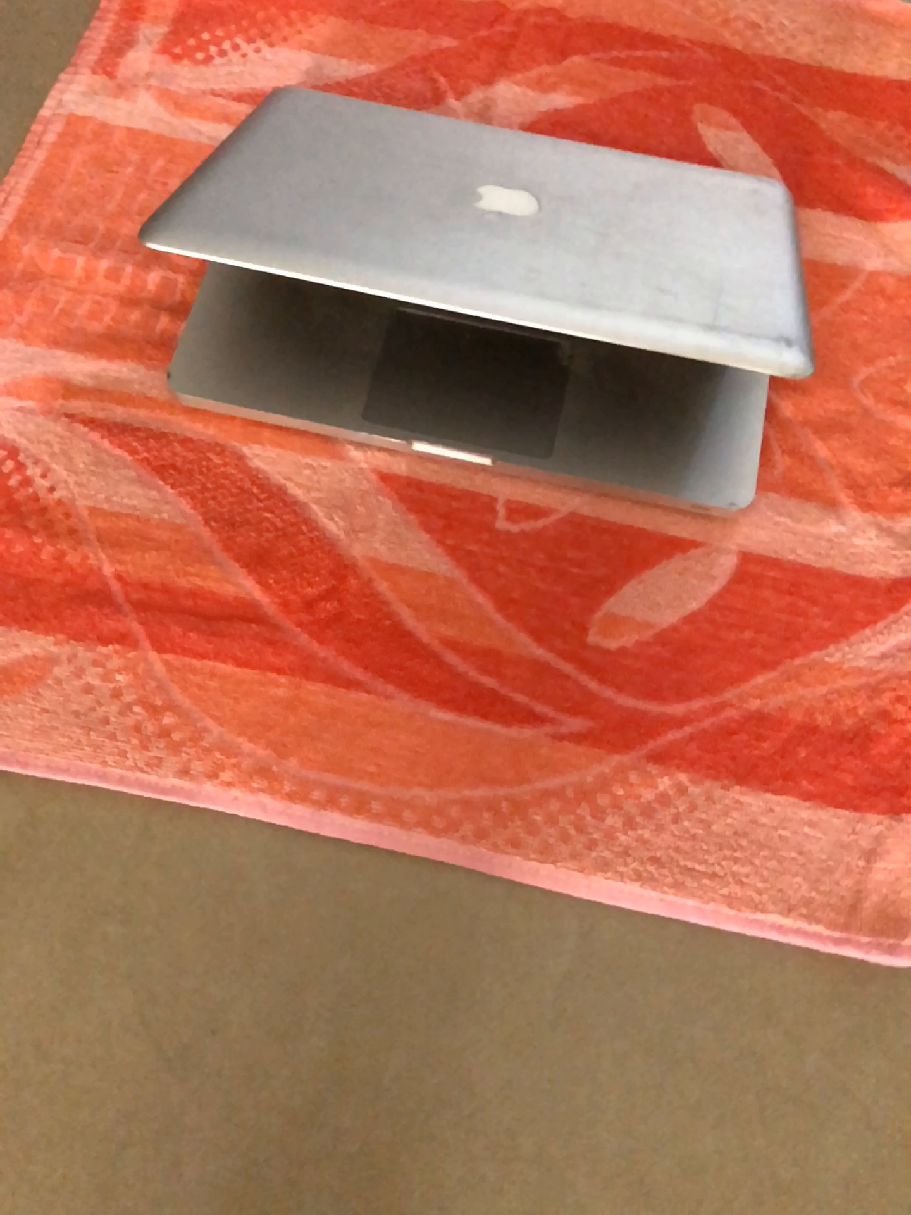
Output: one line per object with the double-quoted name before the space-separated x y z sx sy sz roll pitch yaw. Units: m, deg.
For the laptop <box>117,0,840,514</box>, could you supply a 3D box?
"laptop" 0.024 -0.197 0.527 0.310 0.087 0.223 12 67 2
